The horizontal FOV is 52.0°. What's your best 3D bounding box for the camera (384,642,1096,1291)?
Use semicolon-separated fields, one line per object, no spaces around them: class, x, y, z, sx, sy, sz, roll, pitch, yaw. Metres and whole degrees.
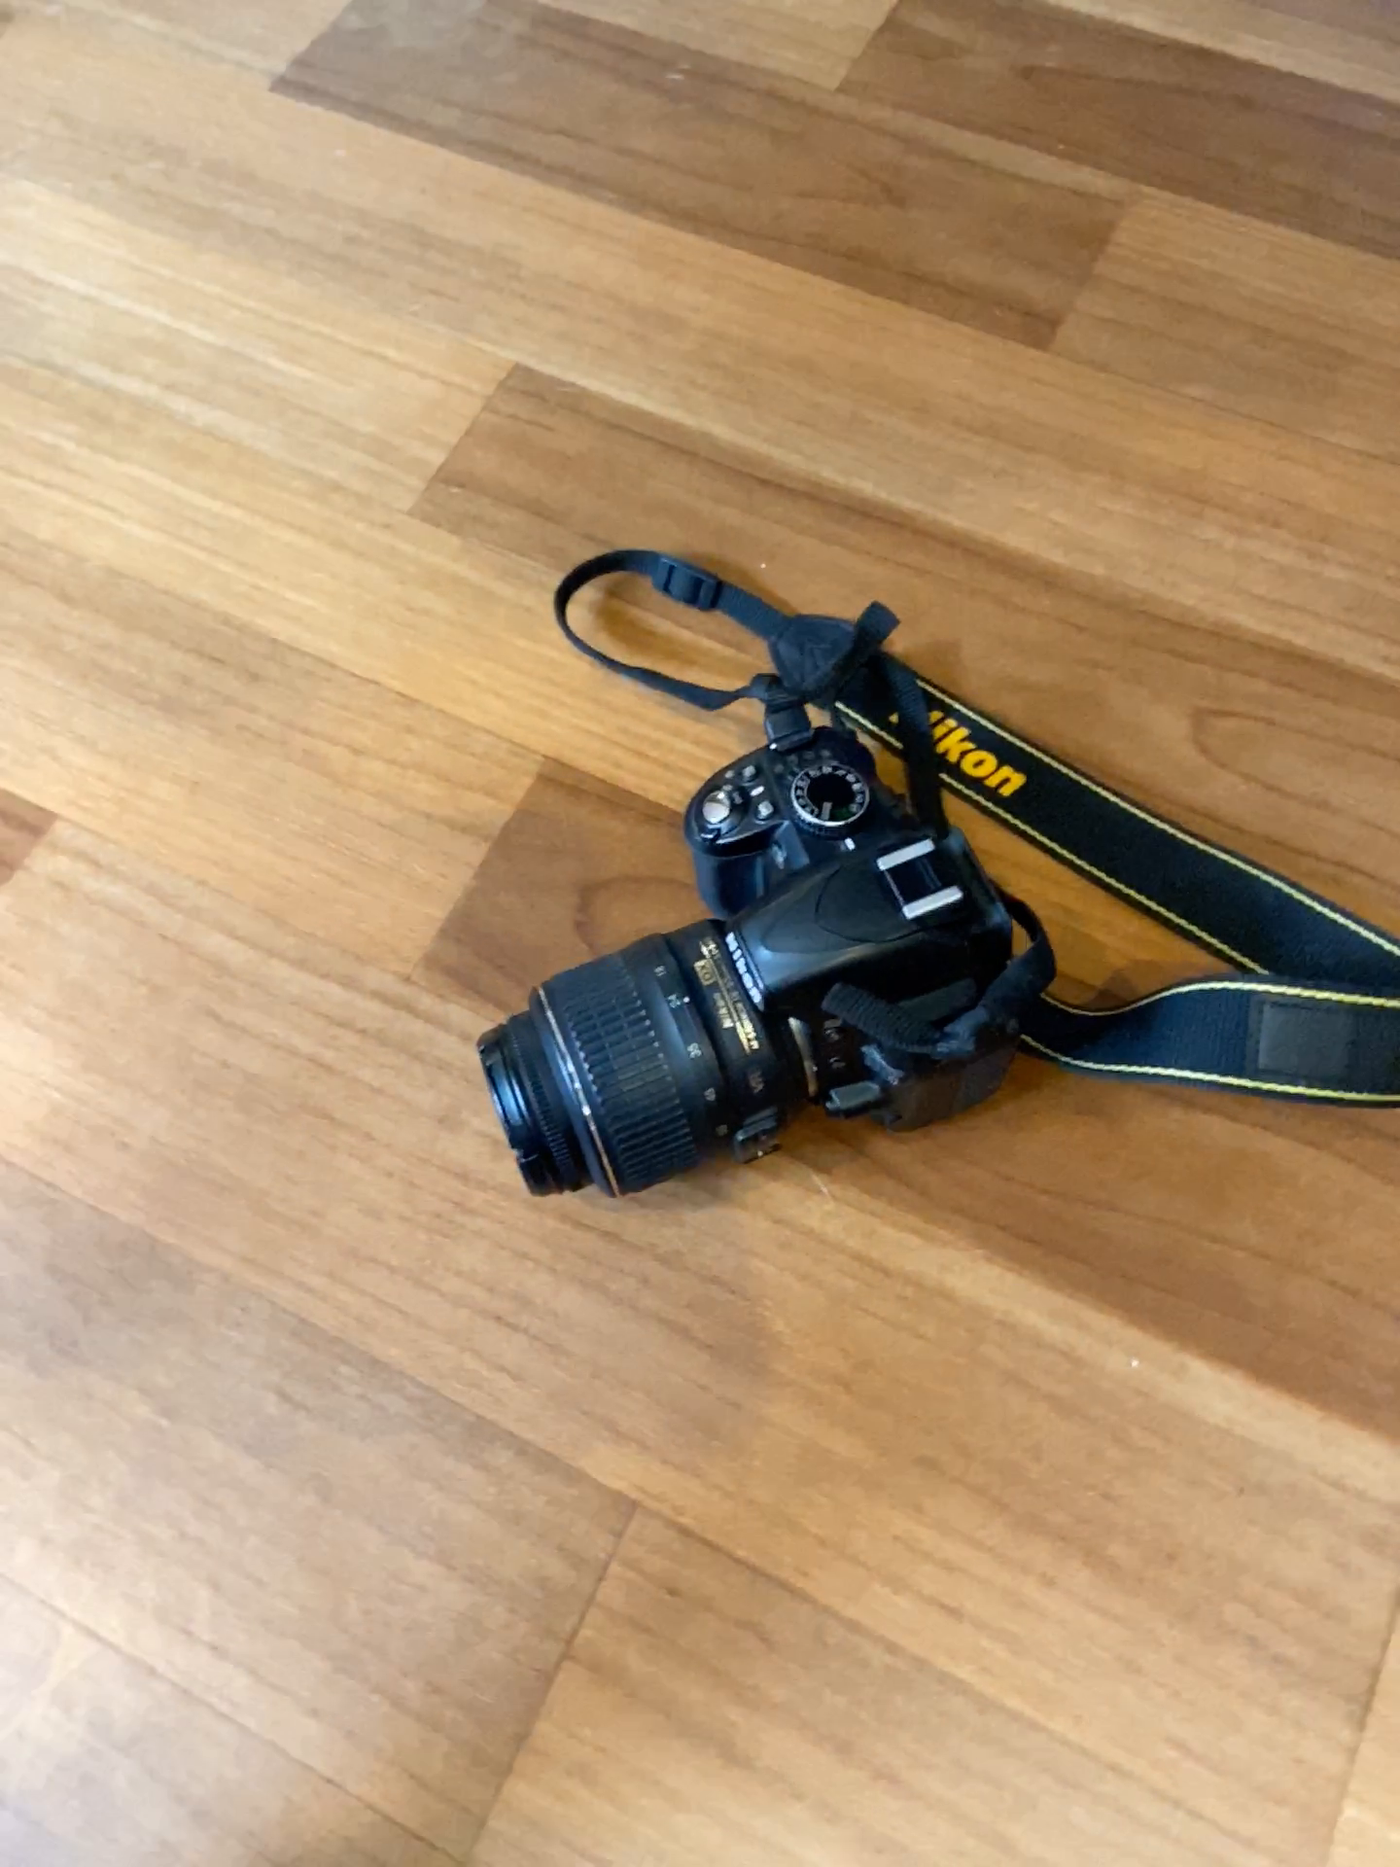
camera;0.010;0.011;0.436;0.162;0.090;0.121;-22;66;-7
